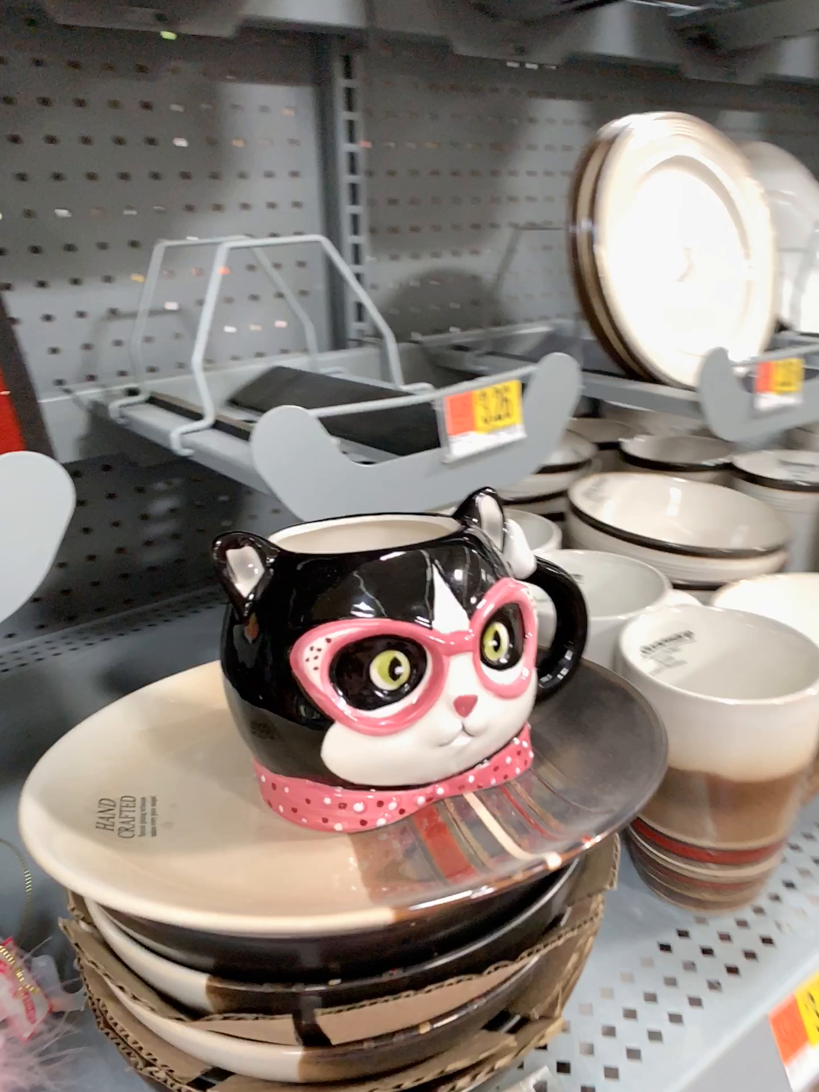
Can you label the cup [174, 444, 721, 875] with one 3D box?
[{"bbox_3d":[0.010,0.023,0.281,0.144,0.074,0.096,-13,24,-26],"label":"cup"}]
